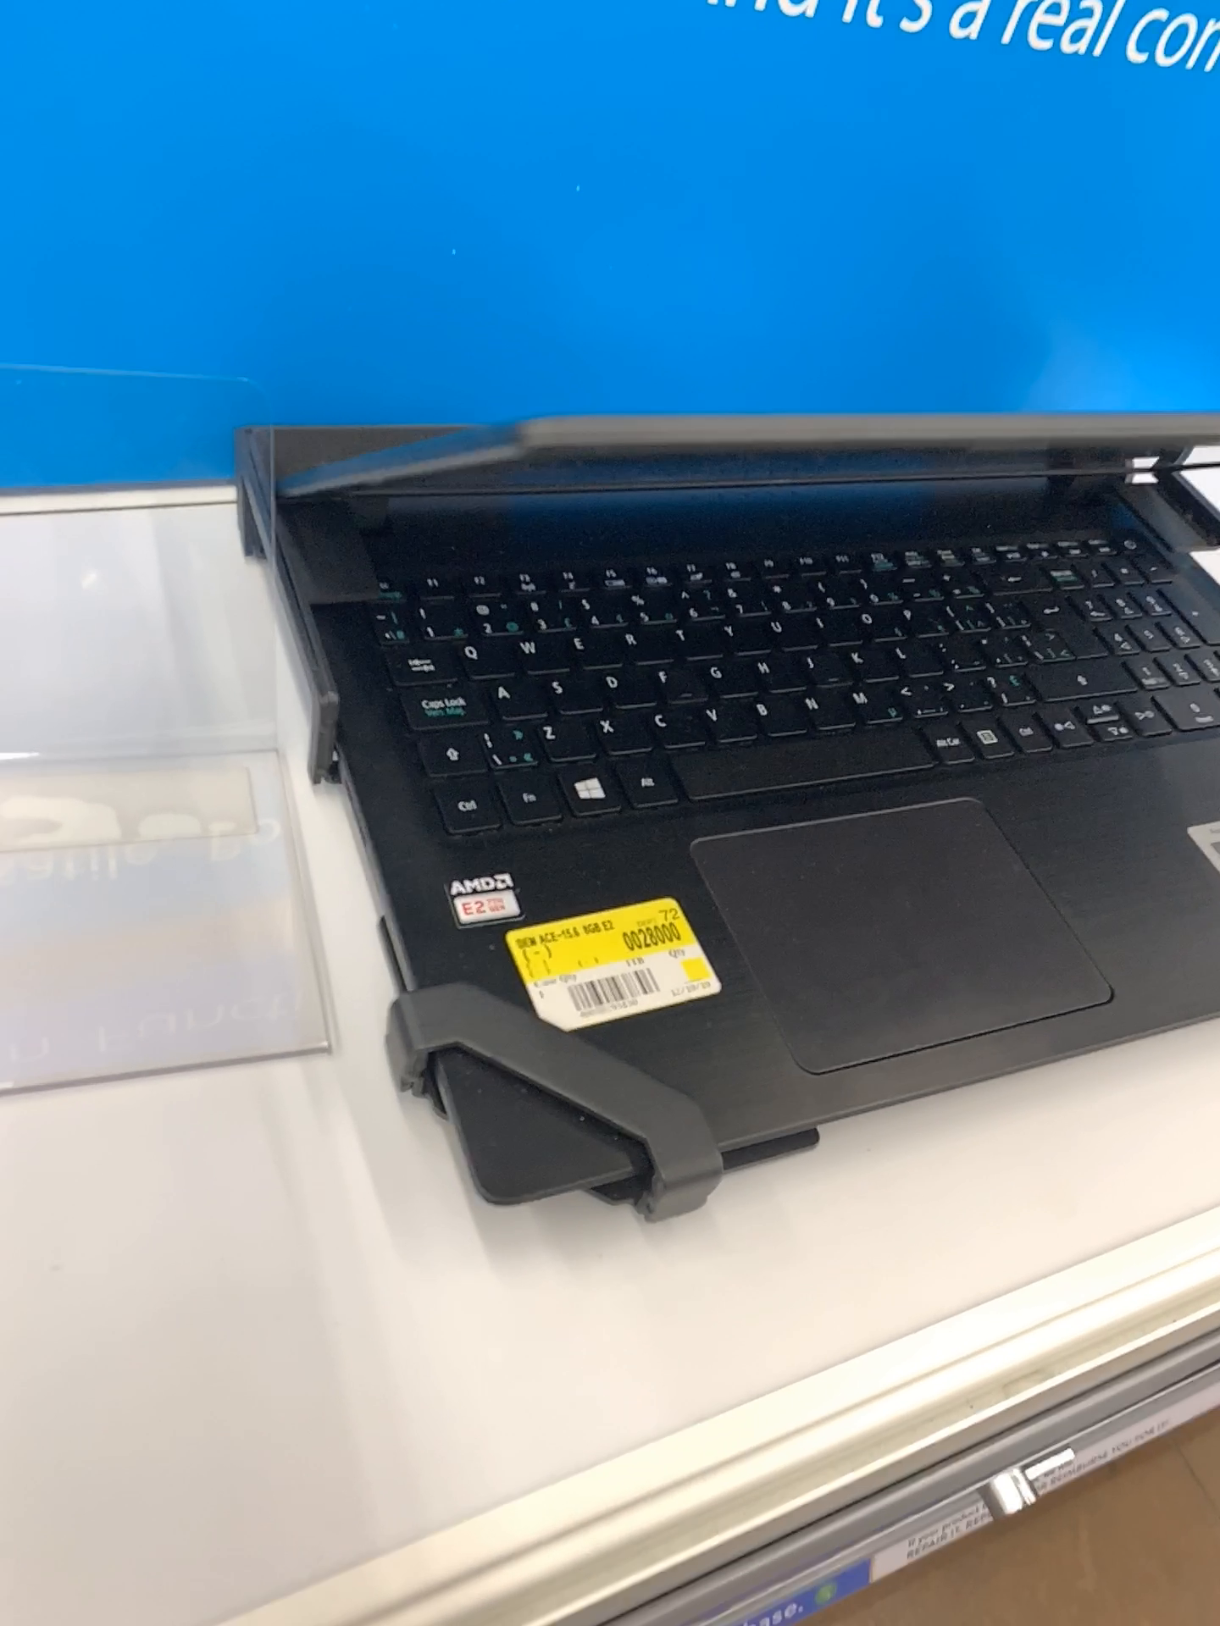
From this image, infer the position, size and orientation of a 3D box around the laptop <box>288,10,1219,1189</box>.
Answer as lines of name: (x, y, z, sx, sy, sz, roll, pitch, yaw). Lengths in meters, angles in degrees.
laptop: (0.117, -0.074, 0.355, 0.364, 0.137, 0.222, -8, 56, -24)
